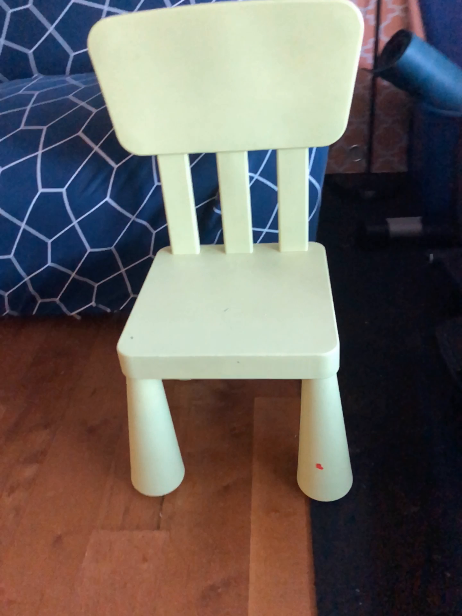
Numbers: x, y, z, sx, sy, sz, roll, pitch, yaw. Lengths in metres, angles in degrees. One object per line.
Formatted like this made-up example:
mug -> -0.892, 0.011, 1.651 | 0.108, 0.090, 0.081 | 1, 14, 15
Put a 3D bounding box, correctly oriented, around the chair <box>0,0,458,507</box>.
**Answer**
chair -> 0.003, -0.076, 0.741 | 0.390, 0.635, 0.413 | -2, 36, 4
